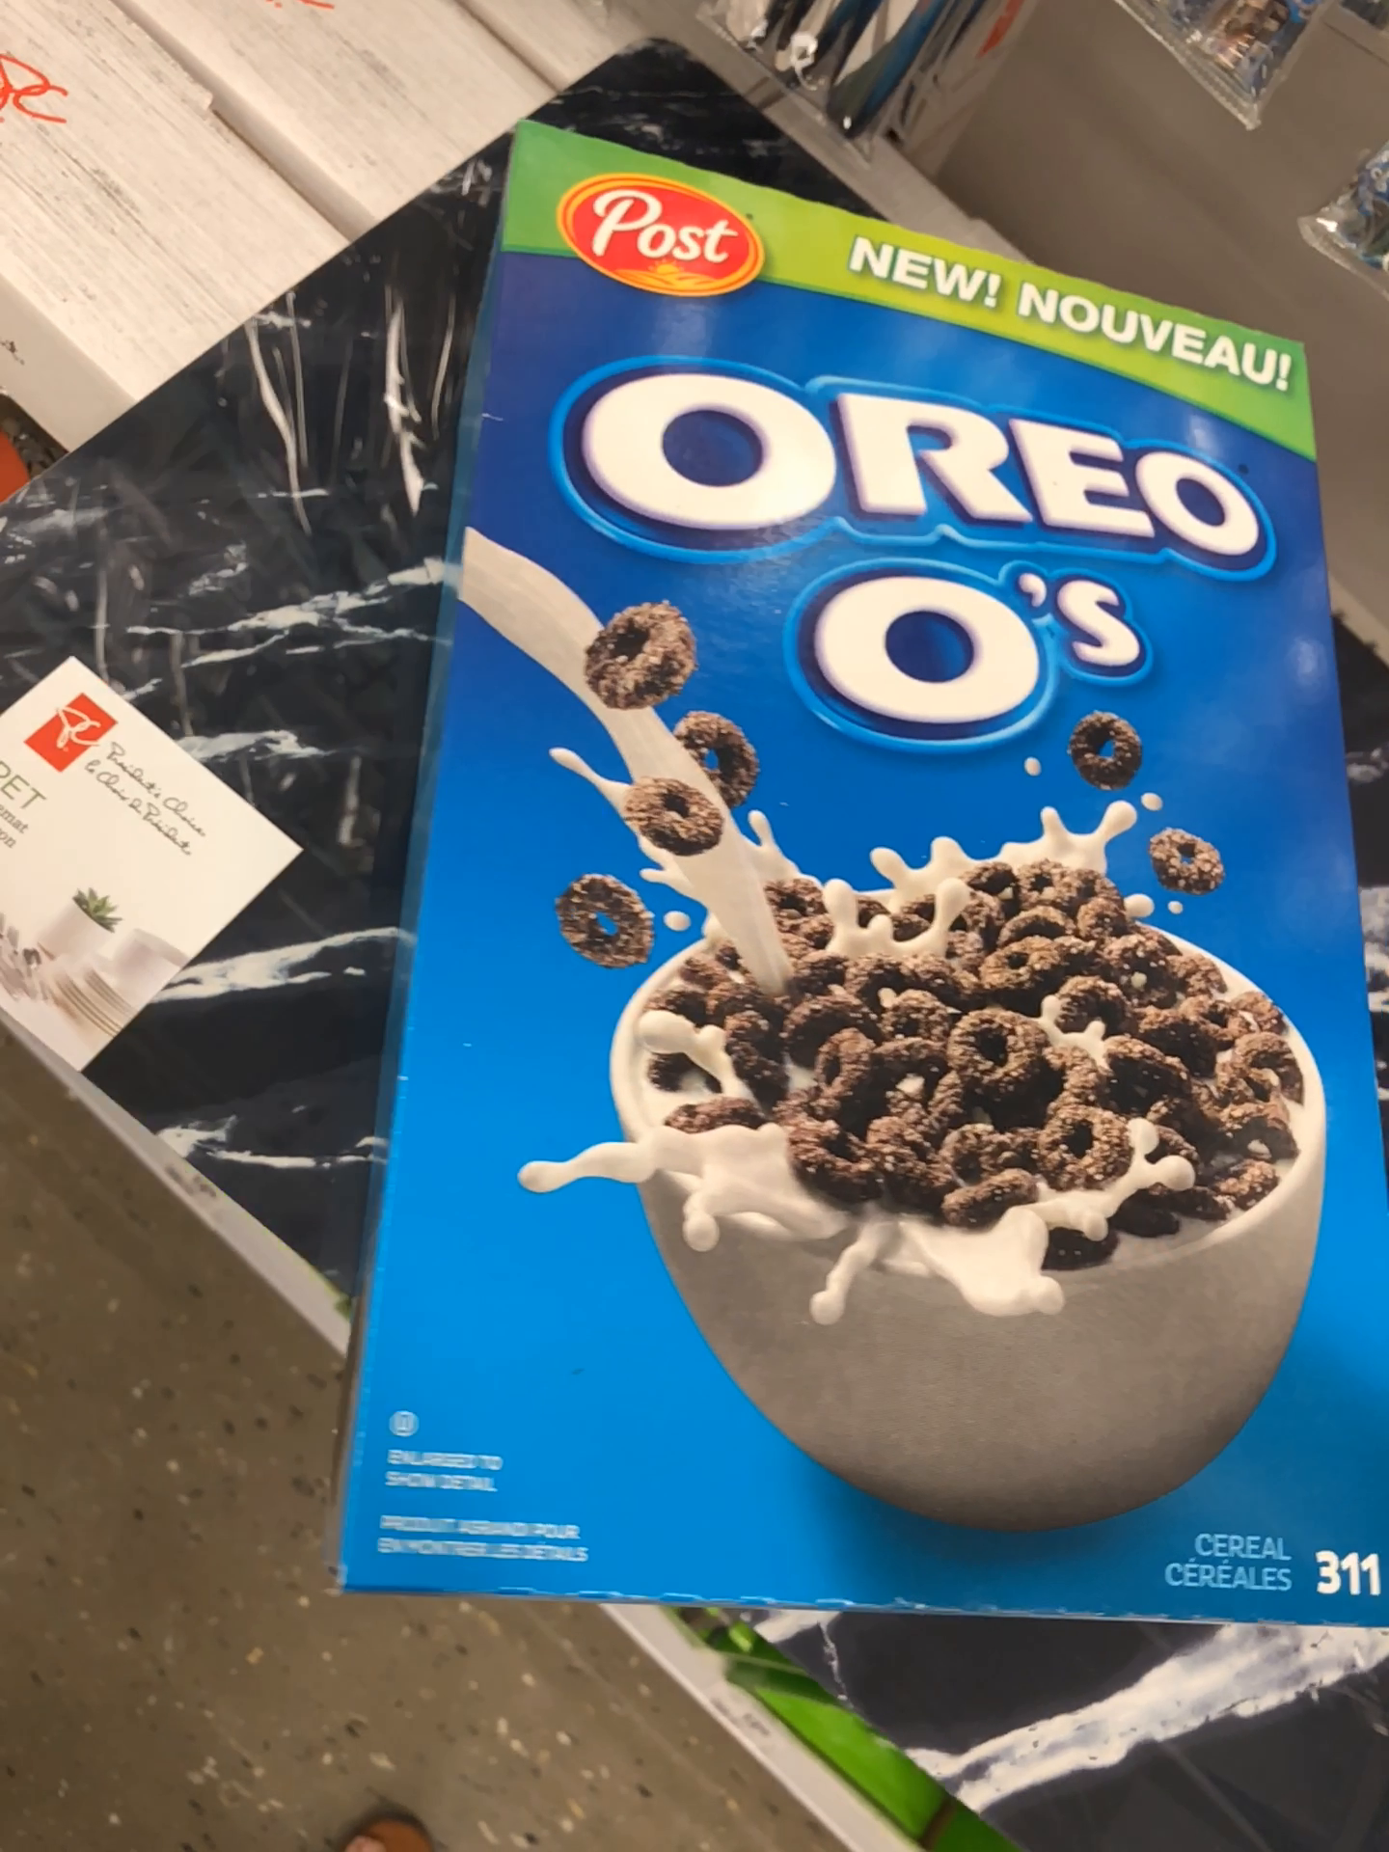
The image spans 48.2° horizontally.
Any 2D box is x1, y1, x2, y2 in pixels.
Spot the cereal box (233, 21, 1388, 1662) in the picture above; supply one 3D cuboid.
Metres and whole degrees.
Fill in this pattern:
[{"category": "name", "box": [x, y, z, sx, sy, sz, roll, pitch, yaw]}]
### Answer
[{"category": "cereal box", "box": [0.038, -0.018, 0.322, 0.210, 0.070, 0.300, 10, 67, -16]}]
